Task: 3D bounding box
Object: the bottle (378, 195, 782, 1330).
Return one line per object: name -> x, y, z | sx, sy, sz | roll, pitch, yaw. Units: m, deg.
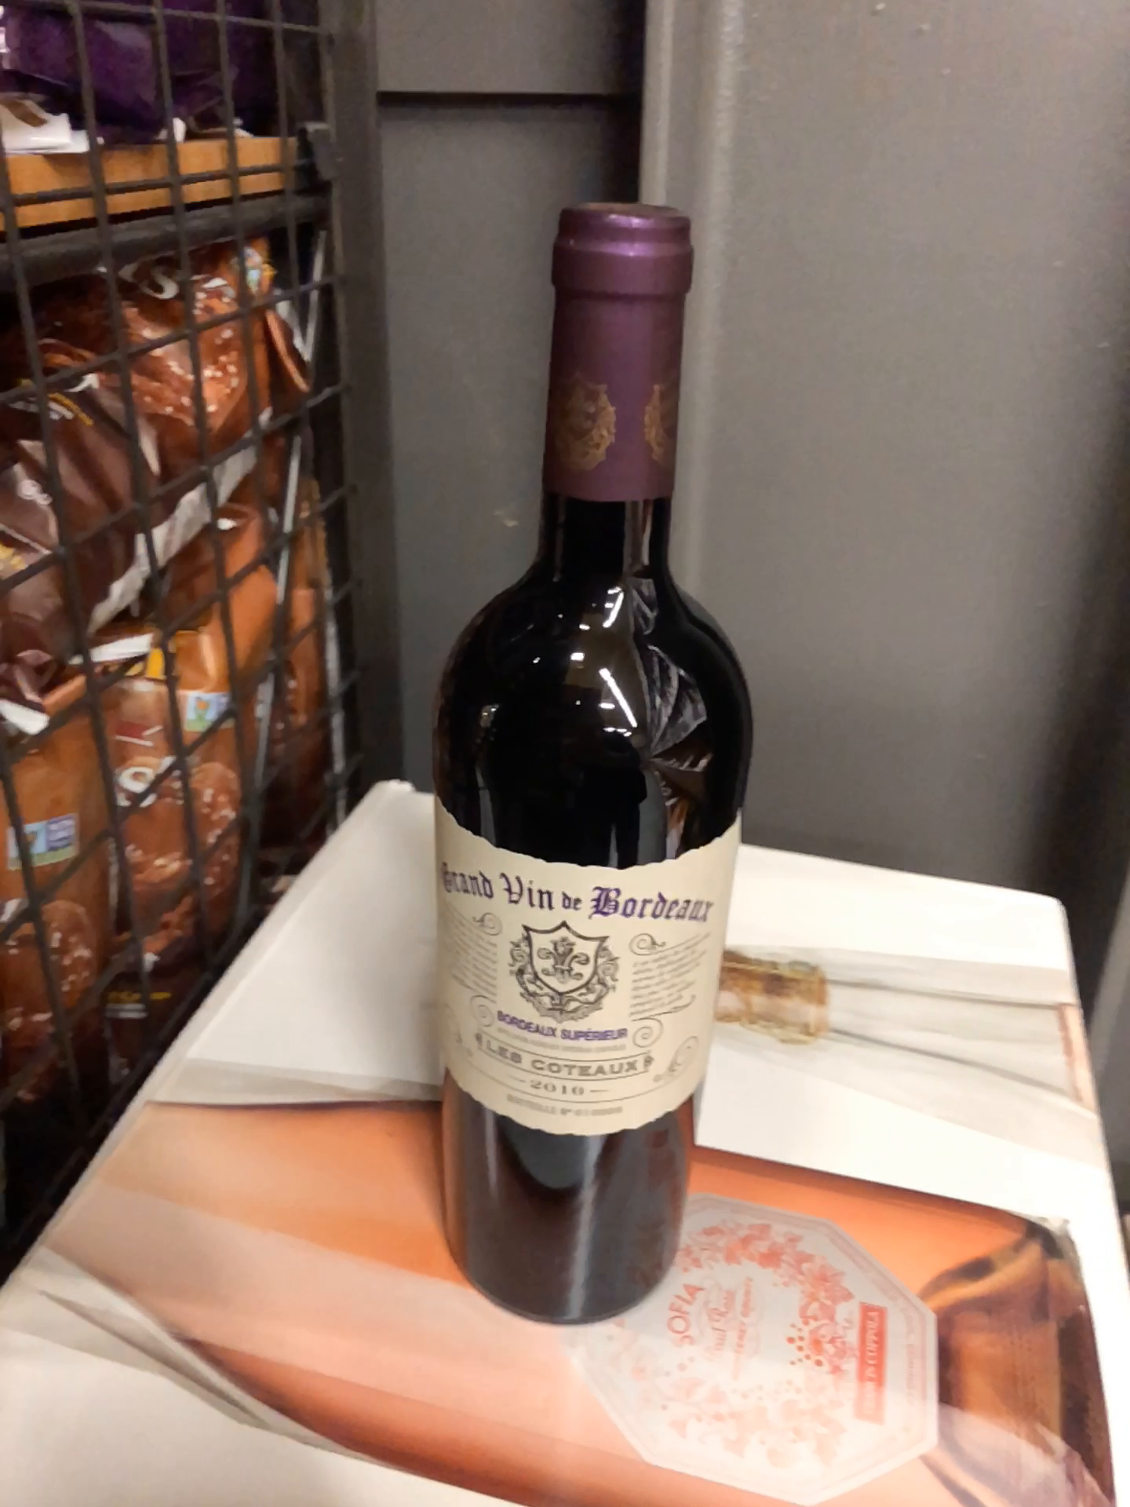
bottle -> 0.000, 0.015, 0.329 | 0.073, 0.290, 0.085 | 0, 27, -2
